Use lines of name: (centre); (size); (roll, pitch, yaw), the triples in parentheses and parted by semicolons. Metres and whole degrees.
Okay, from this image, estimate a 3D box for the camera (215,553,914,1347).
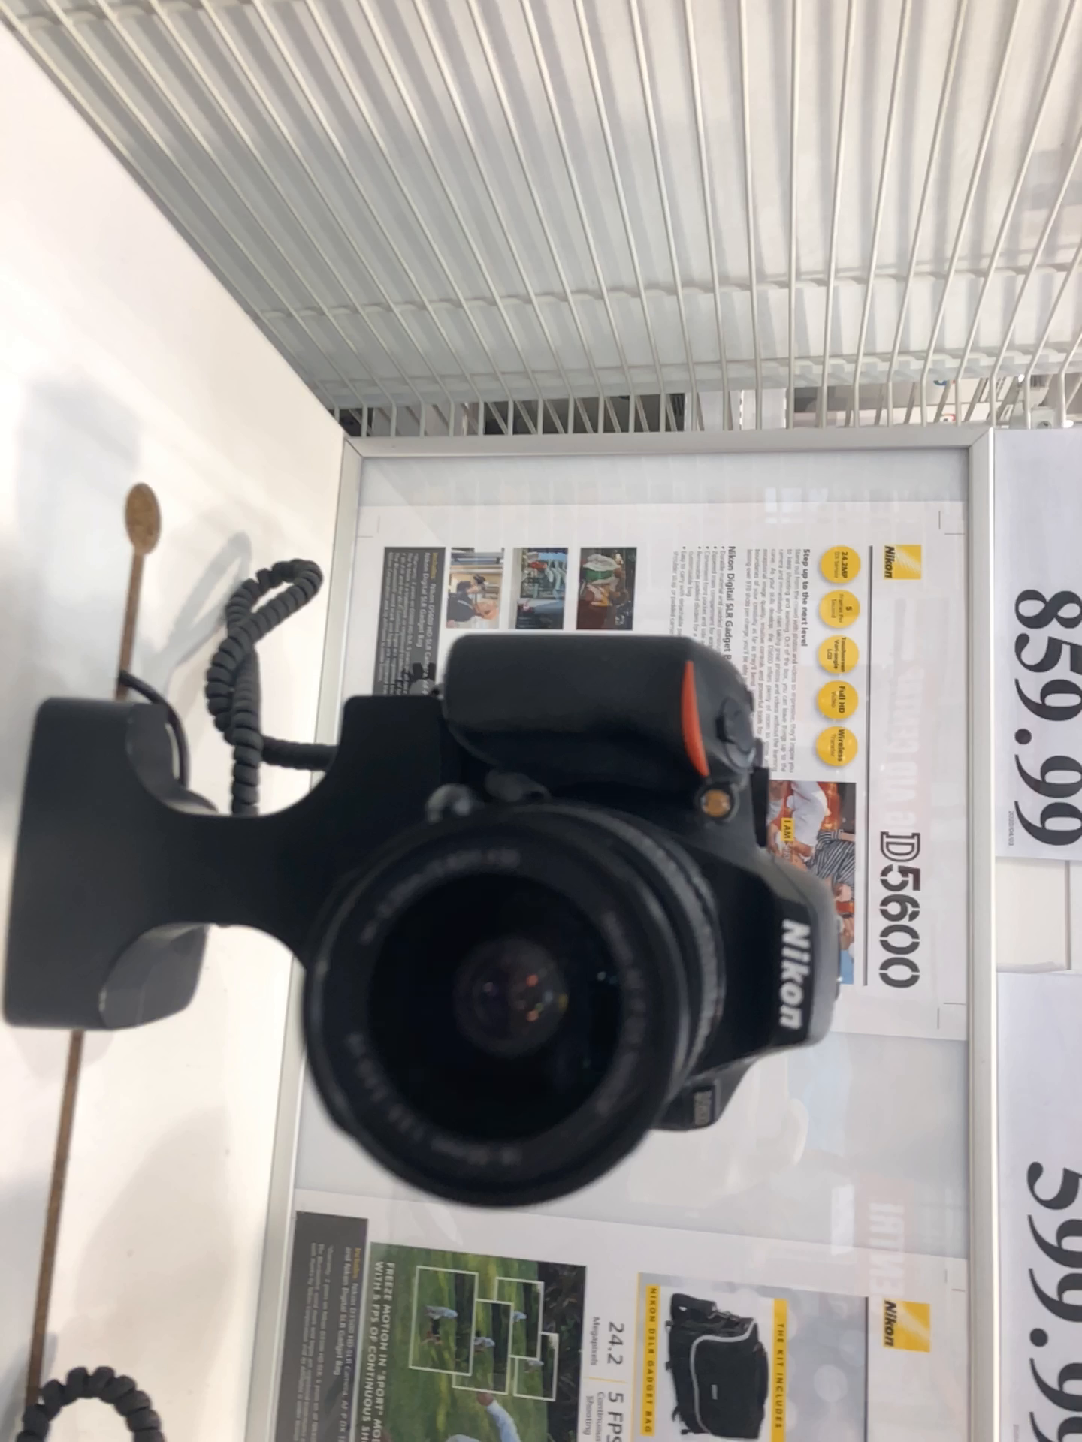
camera: (0.017, 0.038, 0.269); (0.160, 0.110, 0.120); (22, 70, -79)
